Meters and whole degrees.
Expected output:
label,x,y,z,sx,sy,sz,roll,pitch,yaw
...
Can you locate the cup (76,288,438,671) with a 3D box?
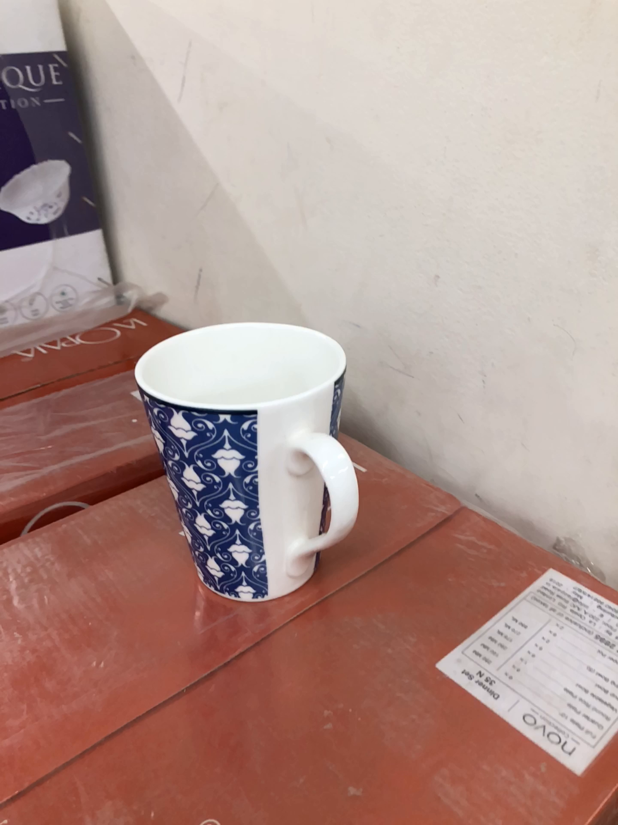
label,x,y,z,sx,sy,sz,roll,pitch,yaw
cup,-0.022,0.018,0.291,0.120,0.099,0.080,23,36,37
